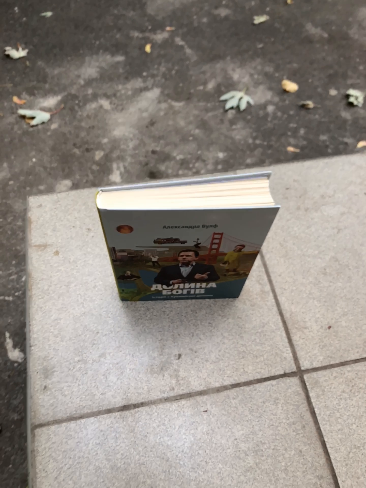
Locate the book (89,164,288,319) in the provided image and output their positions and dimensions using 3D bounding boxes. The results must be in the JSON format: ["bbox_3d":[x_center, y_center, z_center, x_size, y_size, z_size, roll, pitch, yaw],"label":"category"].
[{"bbox_3d":[0.001,0.011,0.426,0.160,0.208,0.044,-7,60,-6],"label":"book"}]
